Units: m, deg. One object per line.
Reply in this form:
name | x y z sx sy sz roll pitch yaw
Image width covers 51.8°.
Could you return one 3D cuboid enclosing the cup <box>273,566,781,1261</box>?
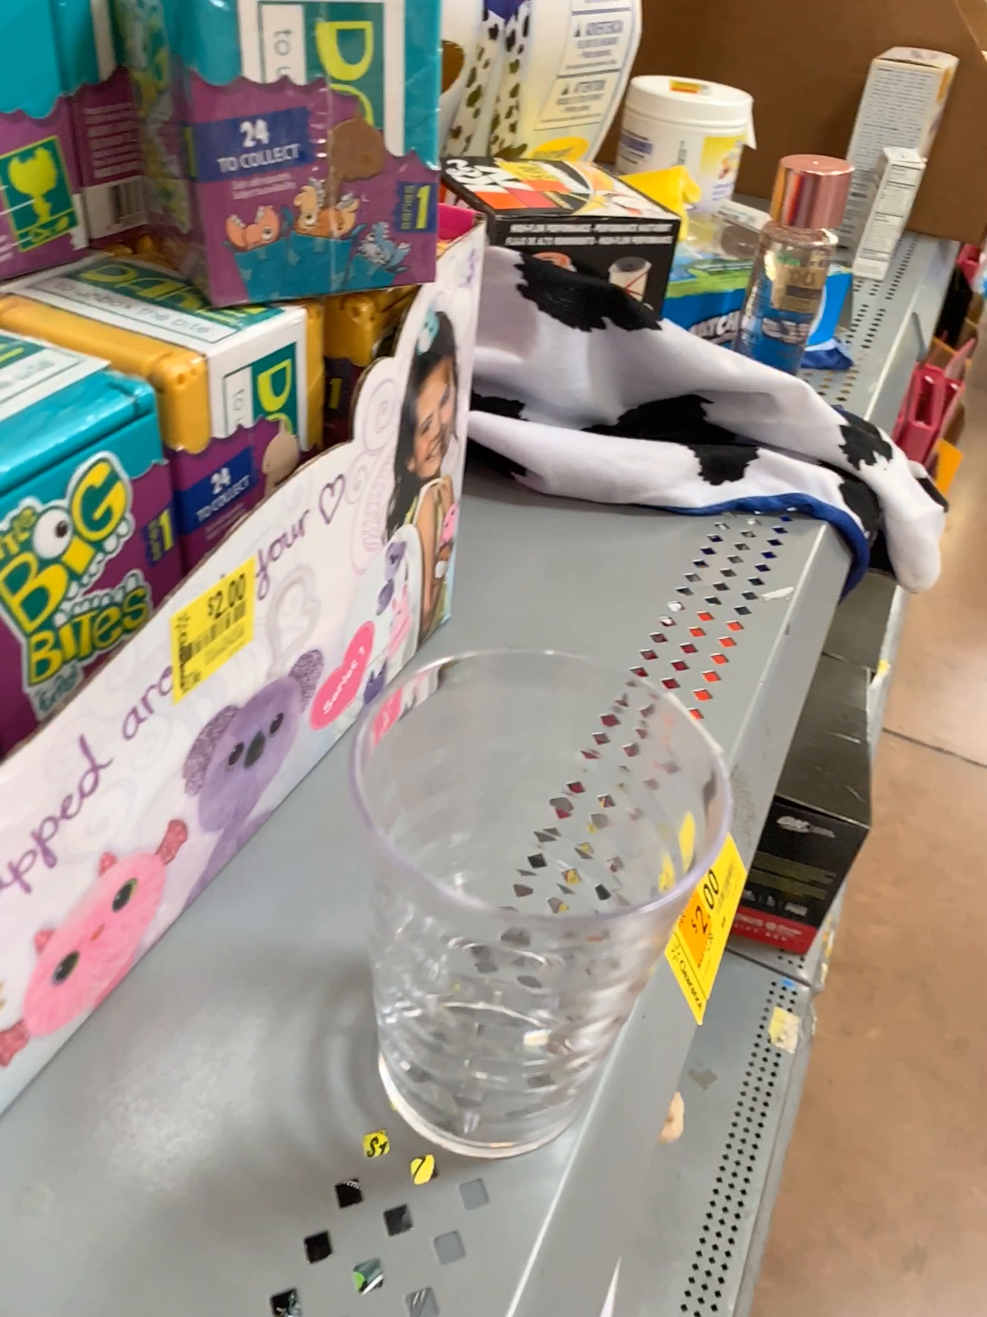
cup | 0.005 0.054 0.222 0.070 0.107 0.079 20 40 14
